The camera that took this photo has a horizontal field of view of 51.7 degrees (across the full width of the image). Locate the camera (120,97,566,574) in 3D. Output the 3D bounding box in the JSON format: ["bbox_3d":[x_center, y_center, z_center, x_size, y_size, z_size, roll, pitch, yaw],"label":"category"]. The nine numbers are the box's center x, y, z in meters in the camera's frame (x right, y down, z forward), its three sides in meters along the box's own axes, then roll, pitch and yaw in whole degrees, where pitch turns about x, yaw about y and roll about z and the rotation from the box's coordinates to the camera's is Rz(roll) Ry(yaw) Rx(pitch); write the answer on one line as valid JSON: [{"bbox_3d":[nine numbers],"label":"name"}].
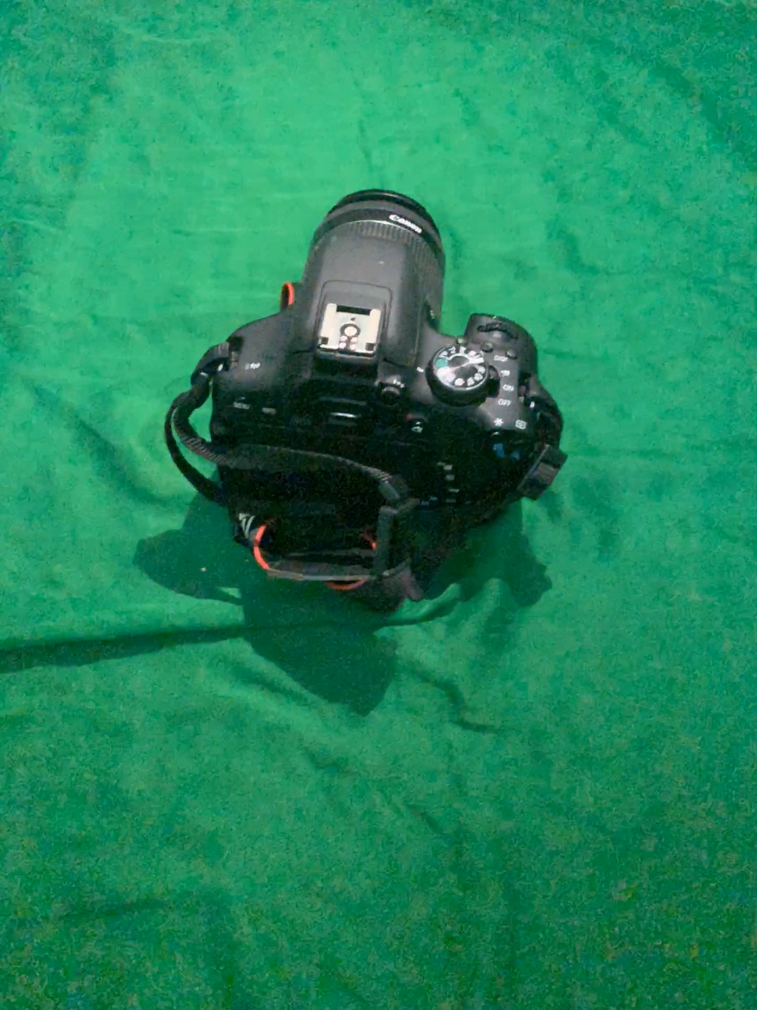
[{"bbox_3d":[-0.007,-0.079,0.355,0.152,0.100,0.191,1,61,3],"label":"camera"}]
